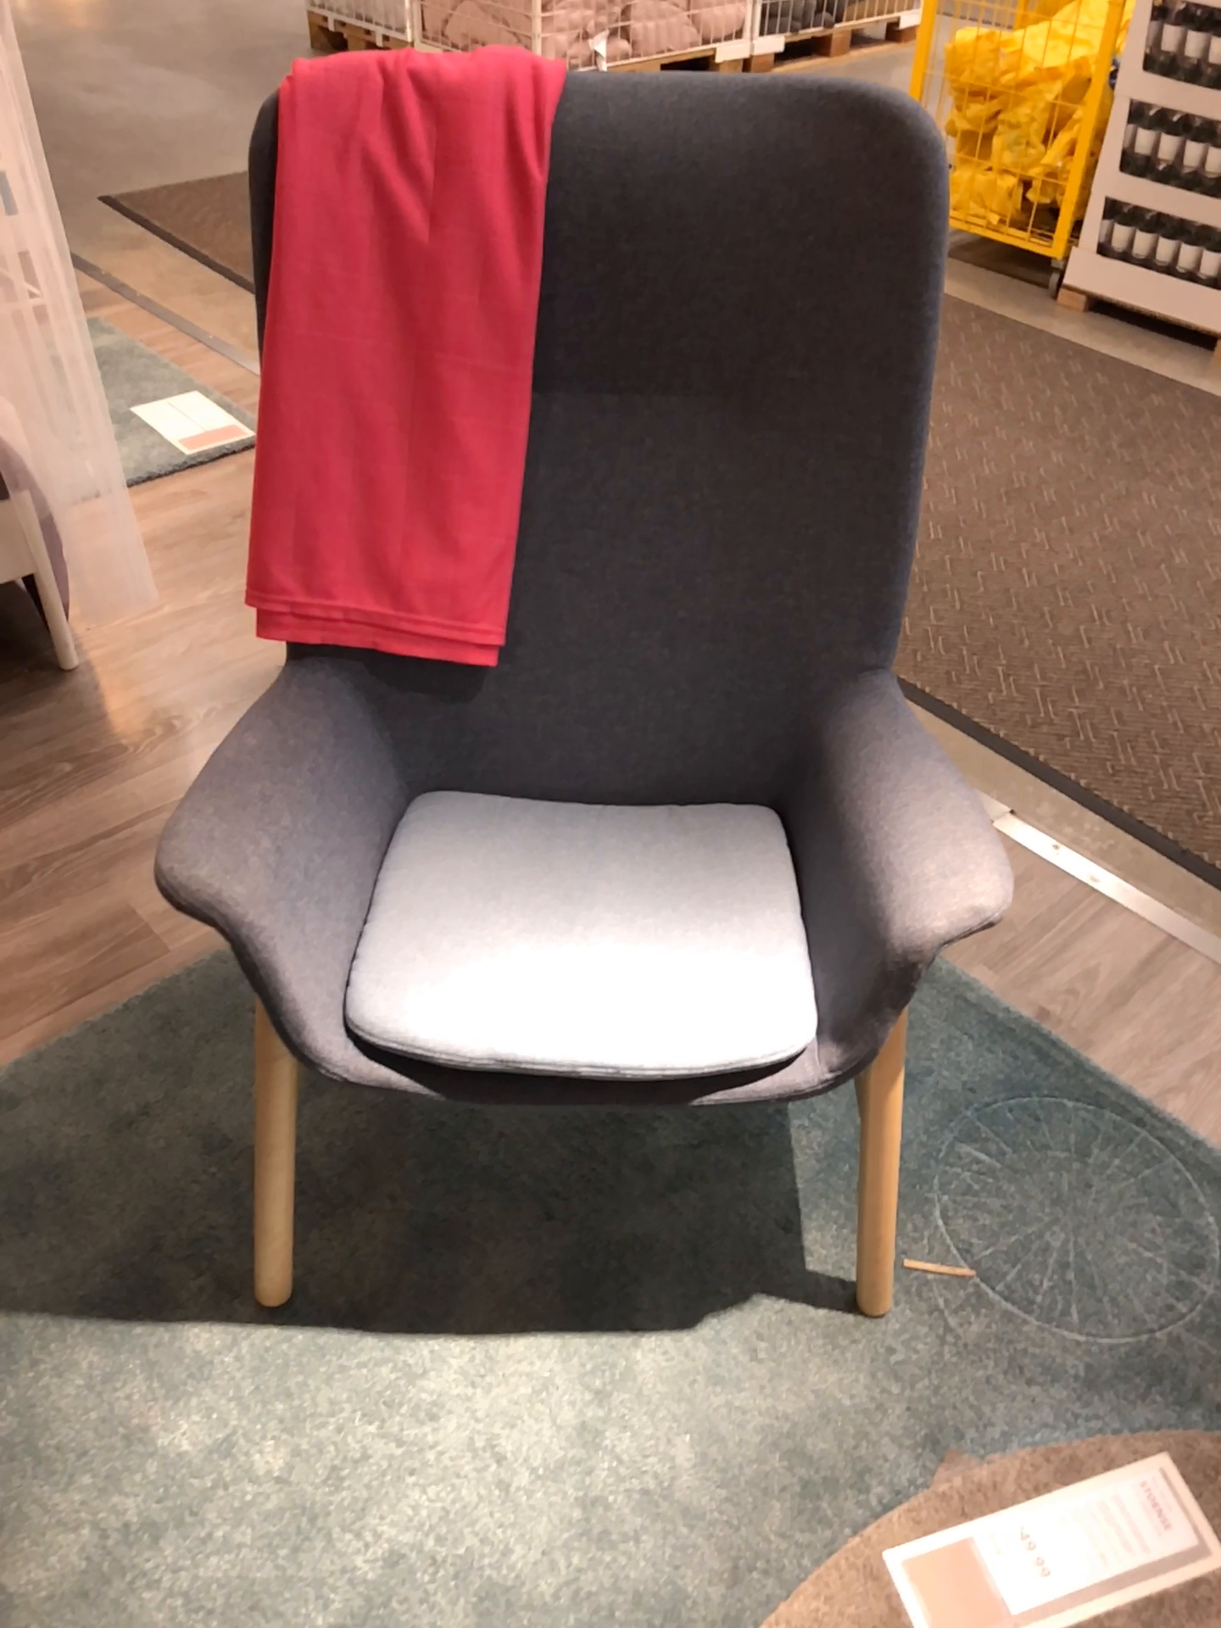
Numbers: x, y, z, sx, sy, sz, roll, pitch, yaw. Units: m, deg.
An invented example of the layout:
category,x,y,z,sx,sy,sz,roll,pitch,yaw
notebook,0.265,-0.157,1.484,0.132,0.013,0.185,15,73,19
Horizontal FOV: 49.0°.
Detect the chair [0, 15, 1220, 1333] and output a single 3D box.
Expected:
category,x,y,z,sx,sy,sz,roll,pitch,yaw
chair,-0.033,-0.100,1.259,0.790,0.996,0.703,1,40,-1
